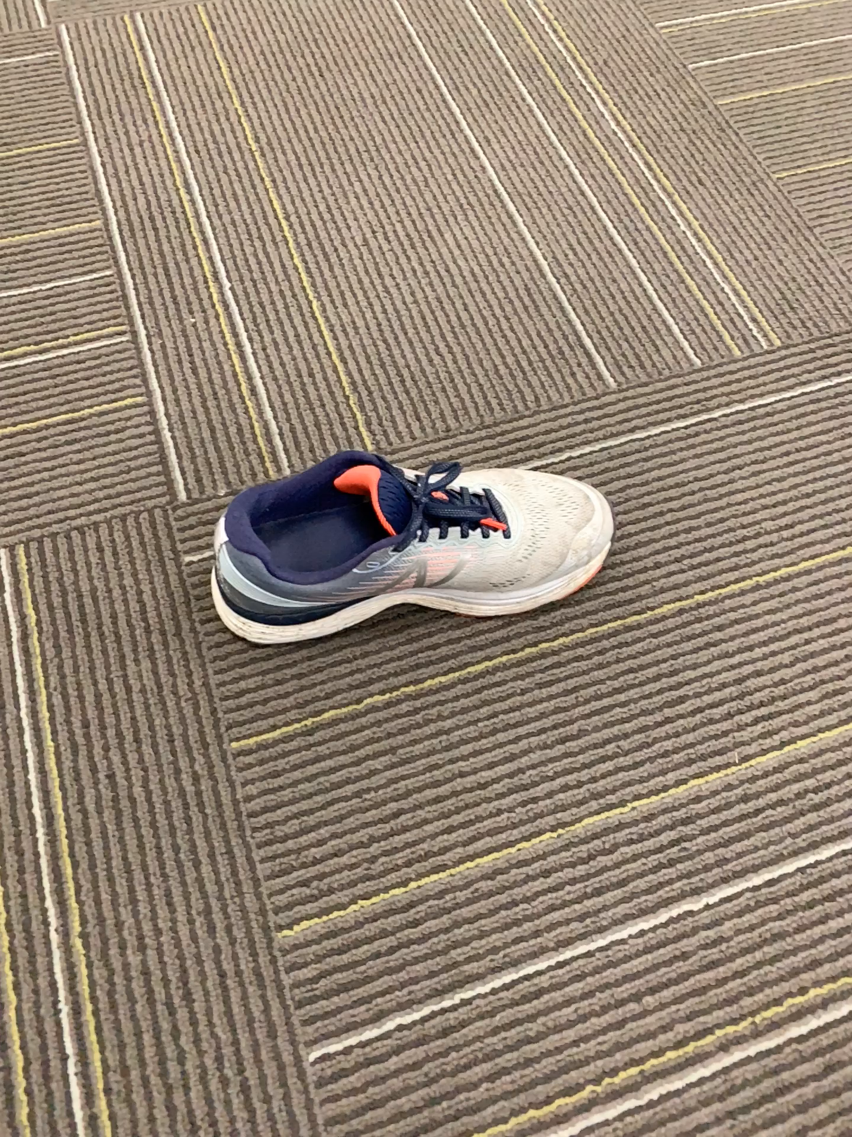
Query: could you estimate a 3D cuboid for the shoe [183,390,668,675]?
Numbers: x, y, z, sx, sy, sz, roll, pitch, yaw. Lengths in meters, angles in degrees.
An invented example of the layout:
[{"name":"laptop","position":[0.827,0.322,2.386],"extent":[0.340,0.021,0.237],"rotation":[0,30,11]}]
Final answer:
[{"name":"shoe","position":[-0.005,-0.027,0.591],"extent":[0.290,0.080,0.130],"rotation":[-9,62,-7]}]
